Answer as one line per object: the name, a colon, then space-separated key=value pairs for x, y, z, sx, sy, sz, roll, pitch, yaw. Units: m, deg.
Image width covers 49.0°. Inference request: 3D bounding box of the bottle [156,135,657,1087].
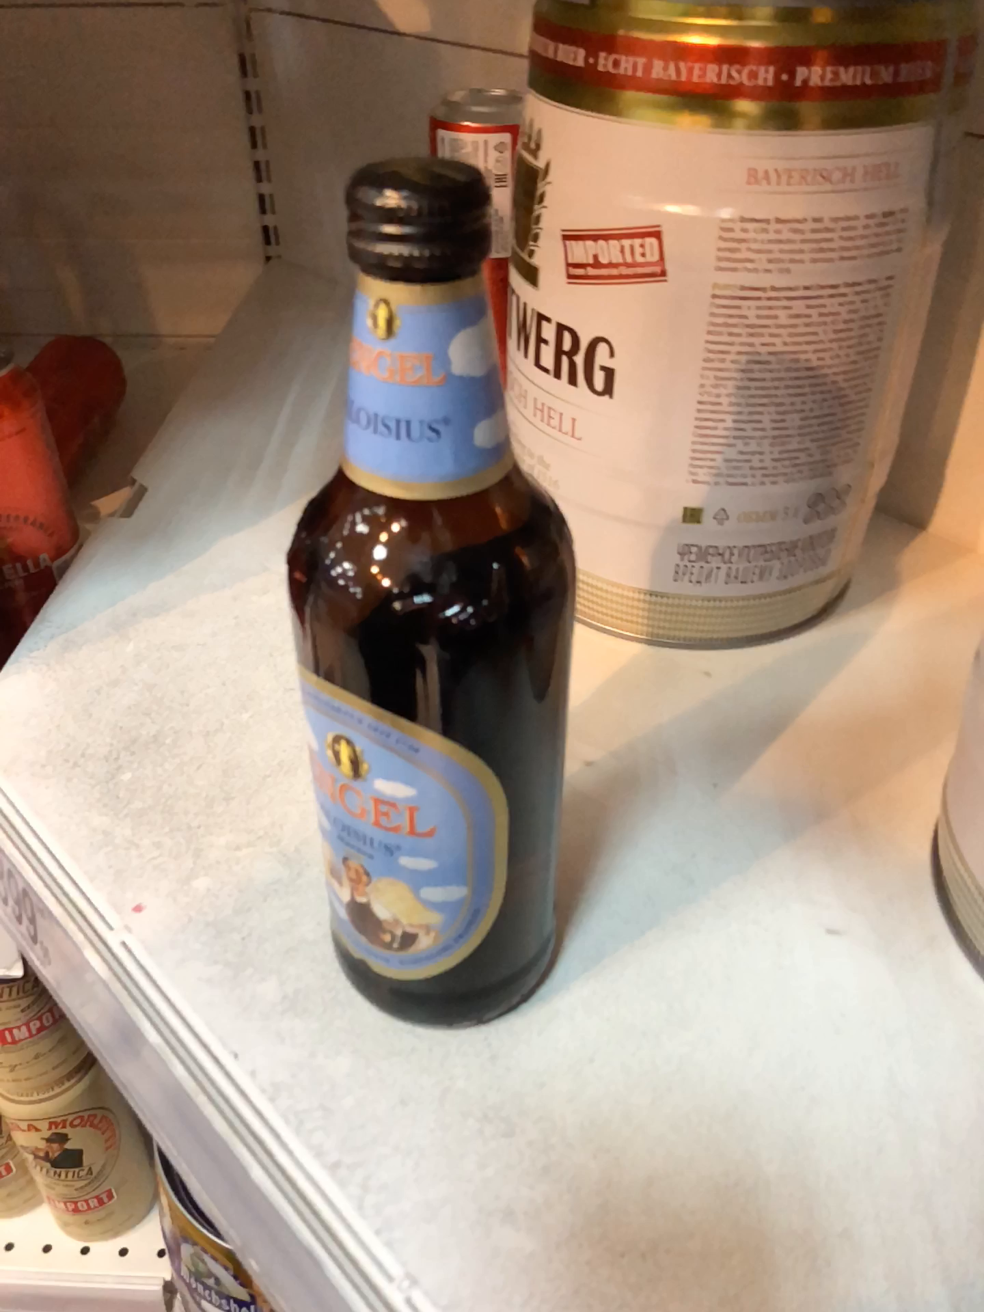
bottle: x=-0.015 y=0.002 z=0.264 sx=0.070 sy=0.219 sz=0.060 roll=29 pitch=46 yaw=33
